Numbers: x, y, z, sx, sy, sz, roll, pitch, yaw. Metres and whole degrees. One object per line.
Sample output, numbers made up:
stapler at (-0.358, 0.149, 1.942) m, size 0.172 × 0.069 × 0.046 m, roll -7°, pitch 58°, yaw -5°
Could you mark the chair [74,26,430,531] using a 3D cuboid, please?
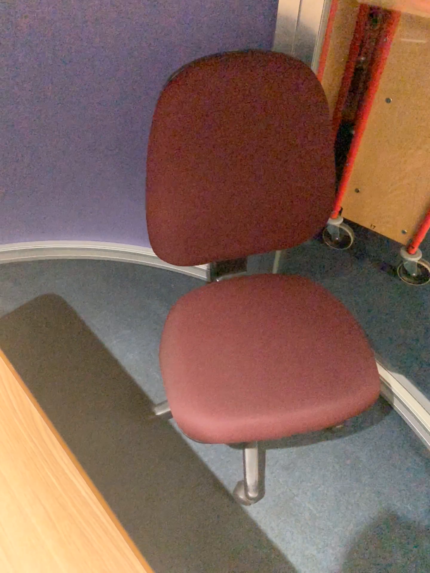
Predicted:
chair at (0.066, -0.032, 1.074) m, size 0.580 × 0.773 × 0.857 m, roll -11°, pitch 51°, yaw -10°
